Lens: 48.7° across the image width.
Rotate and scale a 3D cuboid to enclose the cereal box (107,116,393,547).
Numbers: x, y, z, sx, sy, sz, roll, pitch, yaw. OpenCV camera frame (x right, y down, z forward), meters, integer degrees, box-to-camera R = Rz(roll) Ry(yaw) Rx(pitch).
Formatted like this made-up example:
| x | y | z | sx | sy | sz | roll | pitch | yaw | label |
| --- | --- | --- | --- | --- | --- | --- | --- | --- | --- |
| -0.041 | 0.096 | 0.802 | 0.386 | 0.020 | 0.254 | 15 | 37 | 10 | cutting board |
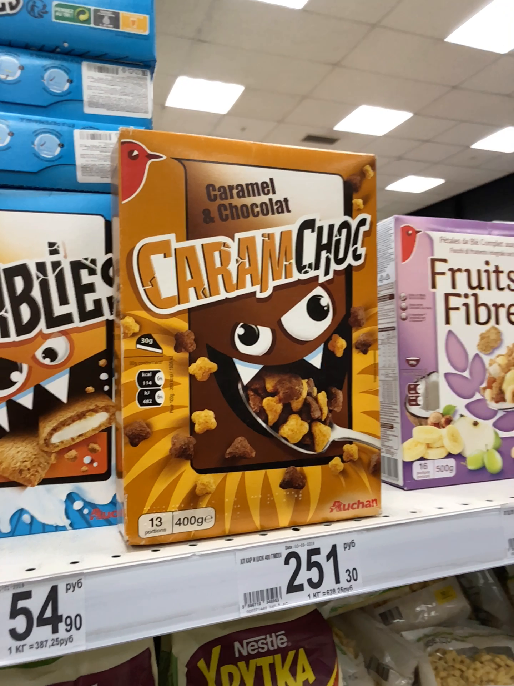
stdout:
| x | y | z | sx | sy | sz | roll | pitch | yaw | label |
| --- | --- | --- | --- | --- | --- | --- | --- | --- | --- |
| -0.004 | -0.009 | 0.418 | 0.200 | 0.270 | 0.060 | -1 | 0 | -20 | cereal box |
